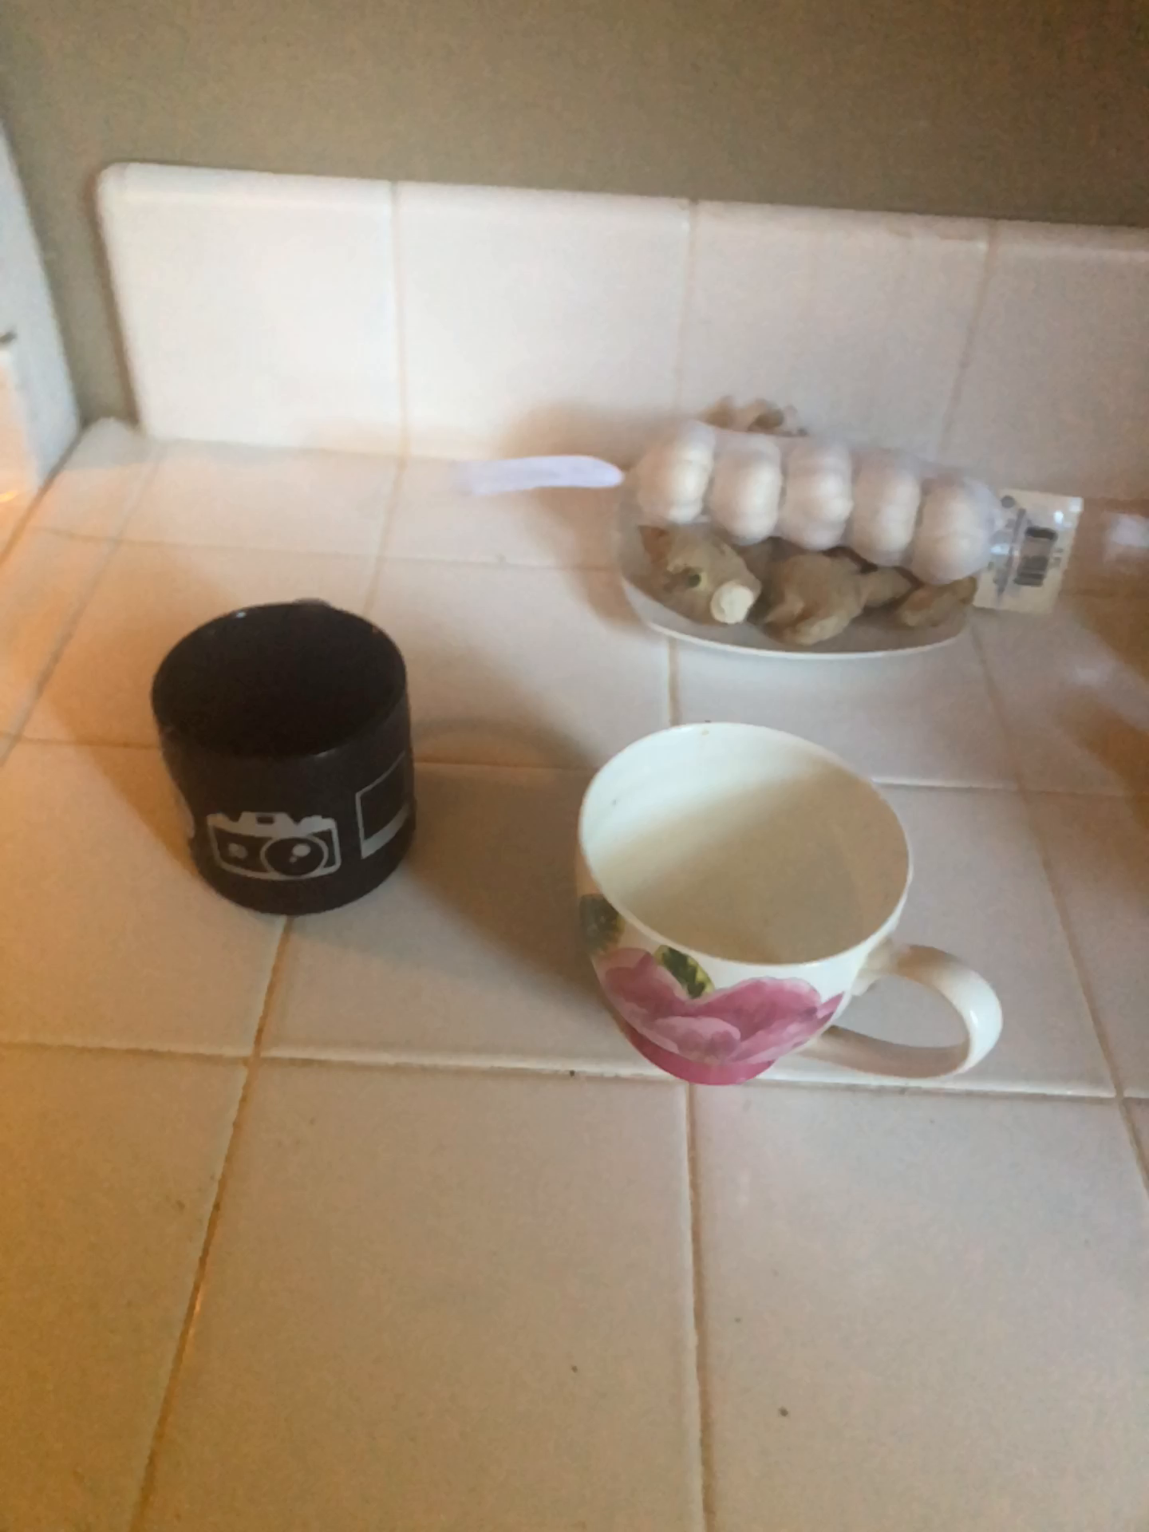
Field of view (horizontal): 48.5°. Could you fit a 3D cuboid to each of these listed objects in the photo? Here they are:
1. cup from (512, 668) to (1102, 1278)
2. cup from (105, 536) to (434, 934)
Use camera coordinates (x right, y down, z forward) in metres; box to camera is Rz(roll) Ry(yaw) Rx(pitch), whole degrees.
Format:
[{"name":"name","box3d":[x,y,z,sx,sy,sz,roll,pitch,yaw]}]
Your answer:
[{"name":"cup","box3d":[0.066,0.060,0.420,0.101,0.089,0.150,-31,54,-30]},{"name":"cup","box3d":[-0.108,-0.016,0.496,0.100,0.079,0.141,0,44,-4]}]
